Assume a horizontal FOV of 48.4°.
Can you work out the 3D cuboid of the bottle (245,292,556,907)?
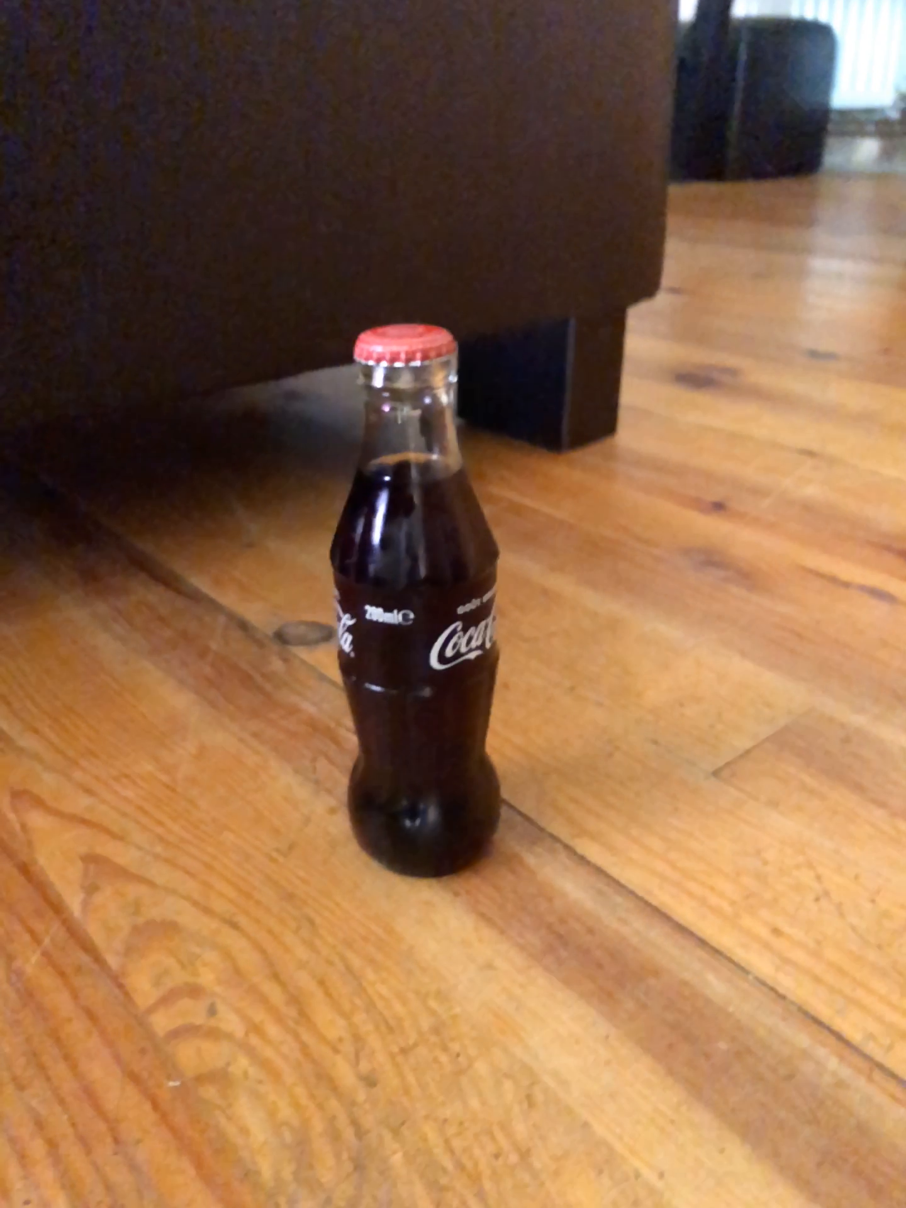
[{"bbox_3d":[-0.012,-0.002,0.311,0.060,0.169,0.060,-1,26,0],"label":"bottle"}]
